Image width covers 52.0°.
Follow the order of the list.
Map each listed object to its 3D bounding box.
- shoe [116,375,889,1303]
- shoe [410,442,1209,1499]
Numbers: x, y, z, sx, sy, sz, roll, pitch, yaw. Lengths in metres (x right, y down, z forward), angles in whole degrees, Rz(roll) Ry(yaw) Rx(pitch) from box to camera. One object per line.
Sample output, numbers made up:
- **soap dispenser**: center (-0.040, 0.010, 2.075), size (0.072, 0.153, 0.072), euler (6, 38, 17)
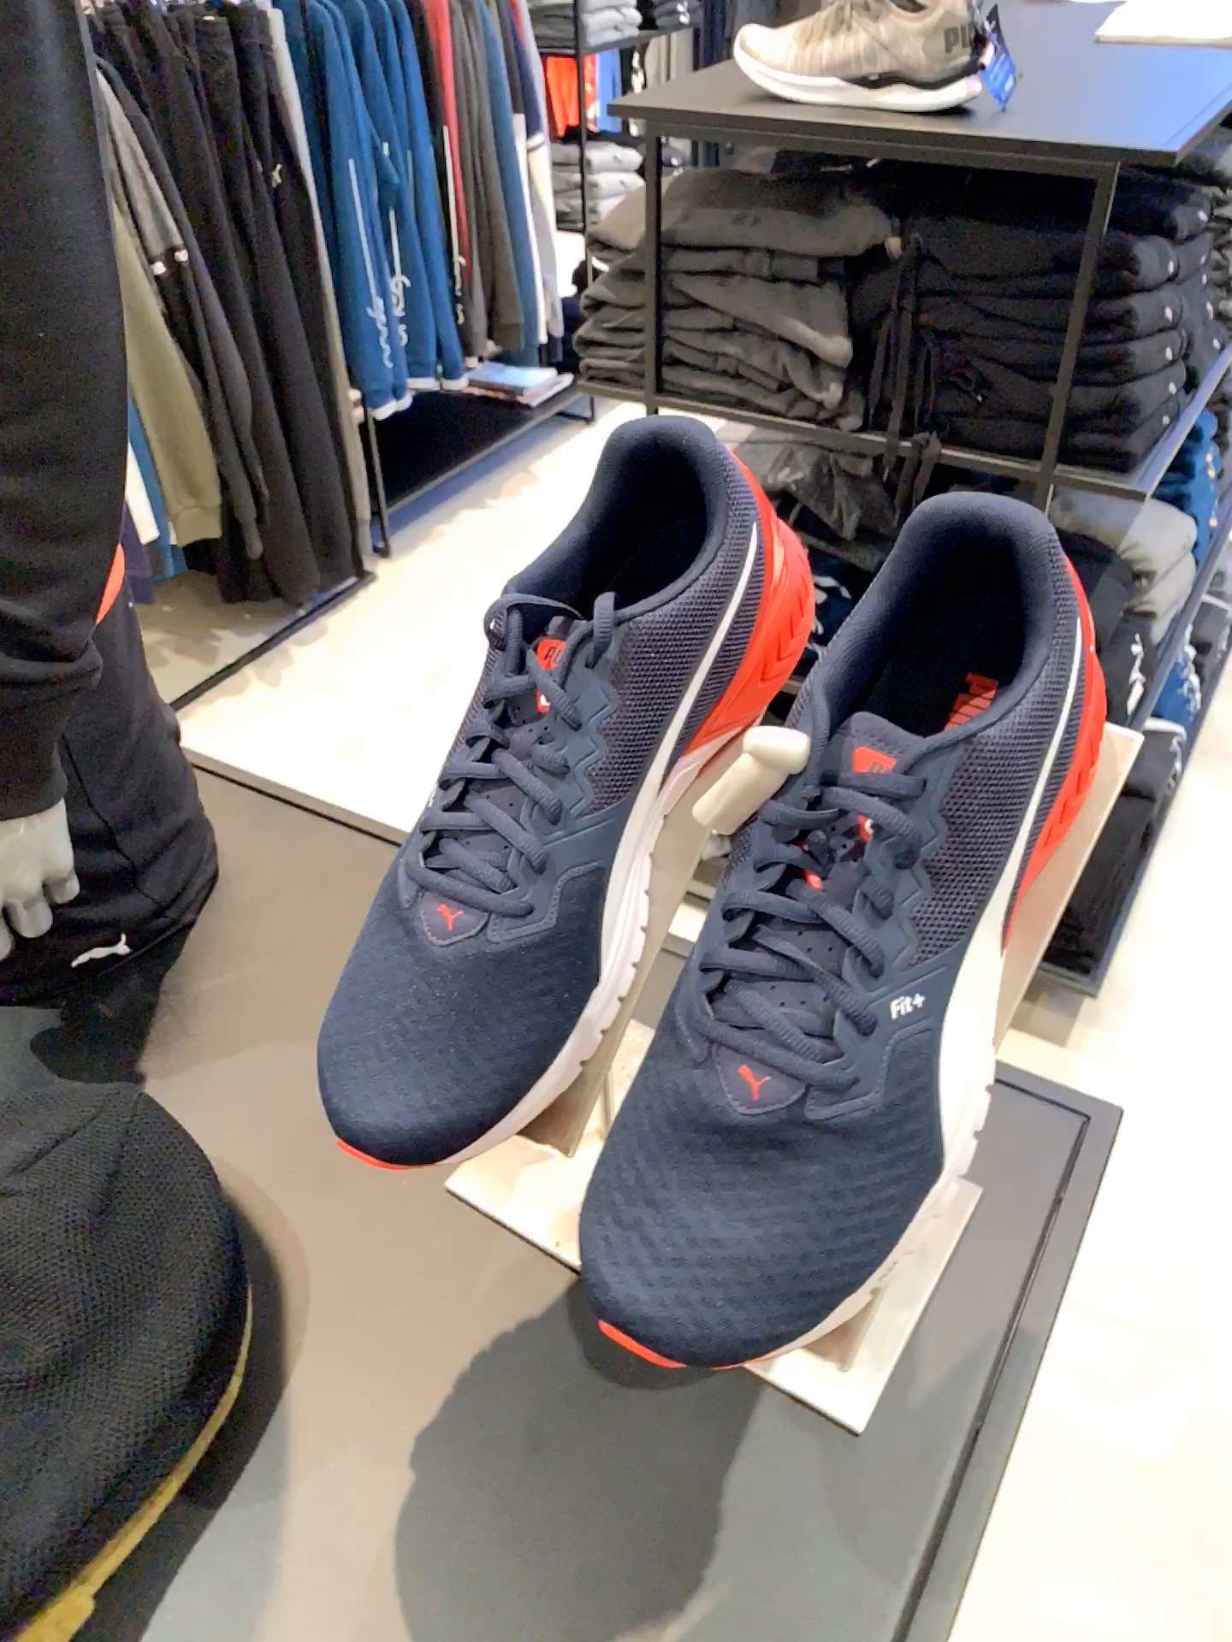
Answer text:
- **shoe**: center (-0.018, -0.005, 0.377), size (0.100, 0.079, 0.251), euler (20, 69, 25)
- **shoe**: center (0.067, 0.033, 0.357), size (0.100, 0.099, 0.261), euler (20, 69, 25)
